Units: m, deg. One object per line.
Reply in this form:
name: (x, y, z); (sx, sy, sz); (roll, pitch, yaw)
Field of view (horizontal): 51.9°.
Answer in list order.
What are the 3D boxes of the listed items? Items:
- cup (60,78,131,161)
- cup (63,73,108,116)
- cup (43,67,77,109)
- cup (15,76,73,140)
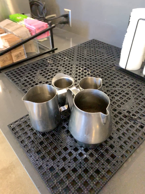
cup: (0.046, 0.050, 0.377); (0.100, 0.119, 0.141); (-19, 44, -19)
cup: (0.038, -0.010, 0.450); (0.110, 0.070, 0.070); (-21, 44, -21)
cup: (-0.040, -0.033, 0.479); (0.070, 0.070, 0.111); (-18, 43, -18)
cup: (-0.072, 0.029, 0.415); (0.120, 0.119, 0.080); (-22, 45, -22)
